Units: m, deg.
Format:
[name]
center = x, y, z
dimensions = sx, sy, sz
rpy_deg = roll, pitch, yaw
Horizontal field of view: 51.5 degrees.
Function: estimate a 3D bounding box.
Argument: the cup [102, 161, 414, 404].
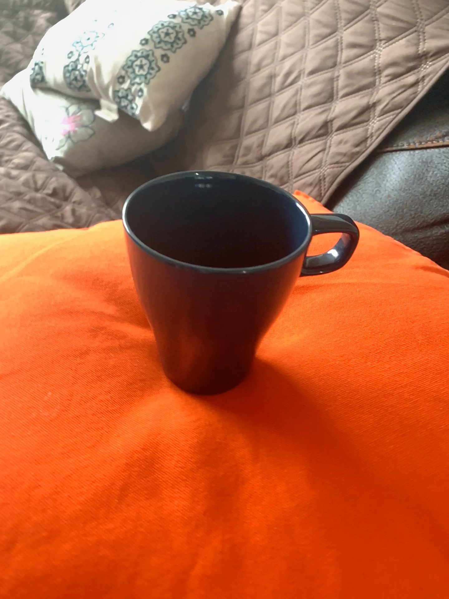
[cup]
center = 0.006, -0.012, 0.229
dimensions = 0.120, 0.079, 0.081
rpy_deg = -3, 43, -11
